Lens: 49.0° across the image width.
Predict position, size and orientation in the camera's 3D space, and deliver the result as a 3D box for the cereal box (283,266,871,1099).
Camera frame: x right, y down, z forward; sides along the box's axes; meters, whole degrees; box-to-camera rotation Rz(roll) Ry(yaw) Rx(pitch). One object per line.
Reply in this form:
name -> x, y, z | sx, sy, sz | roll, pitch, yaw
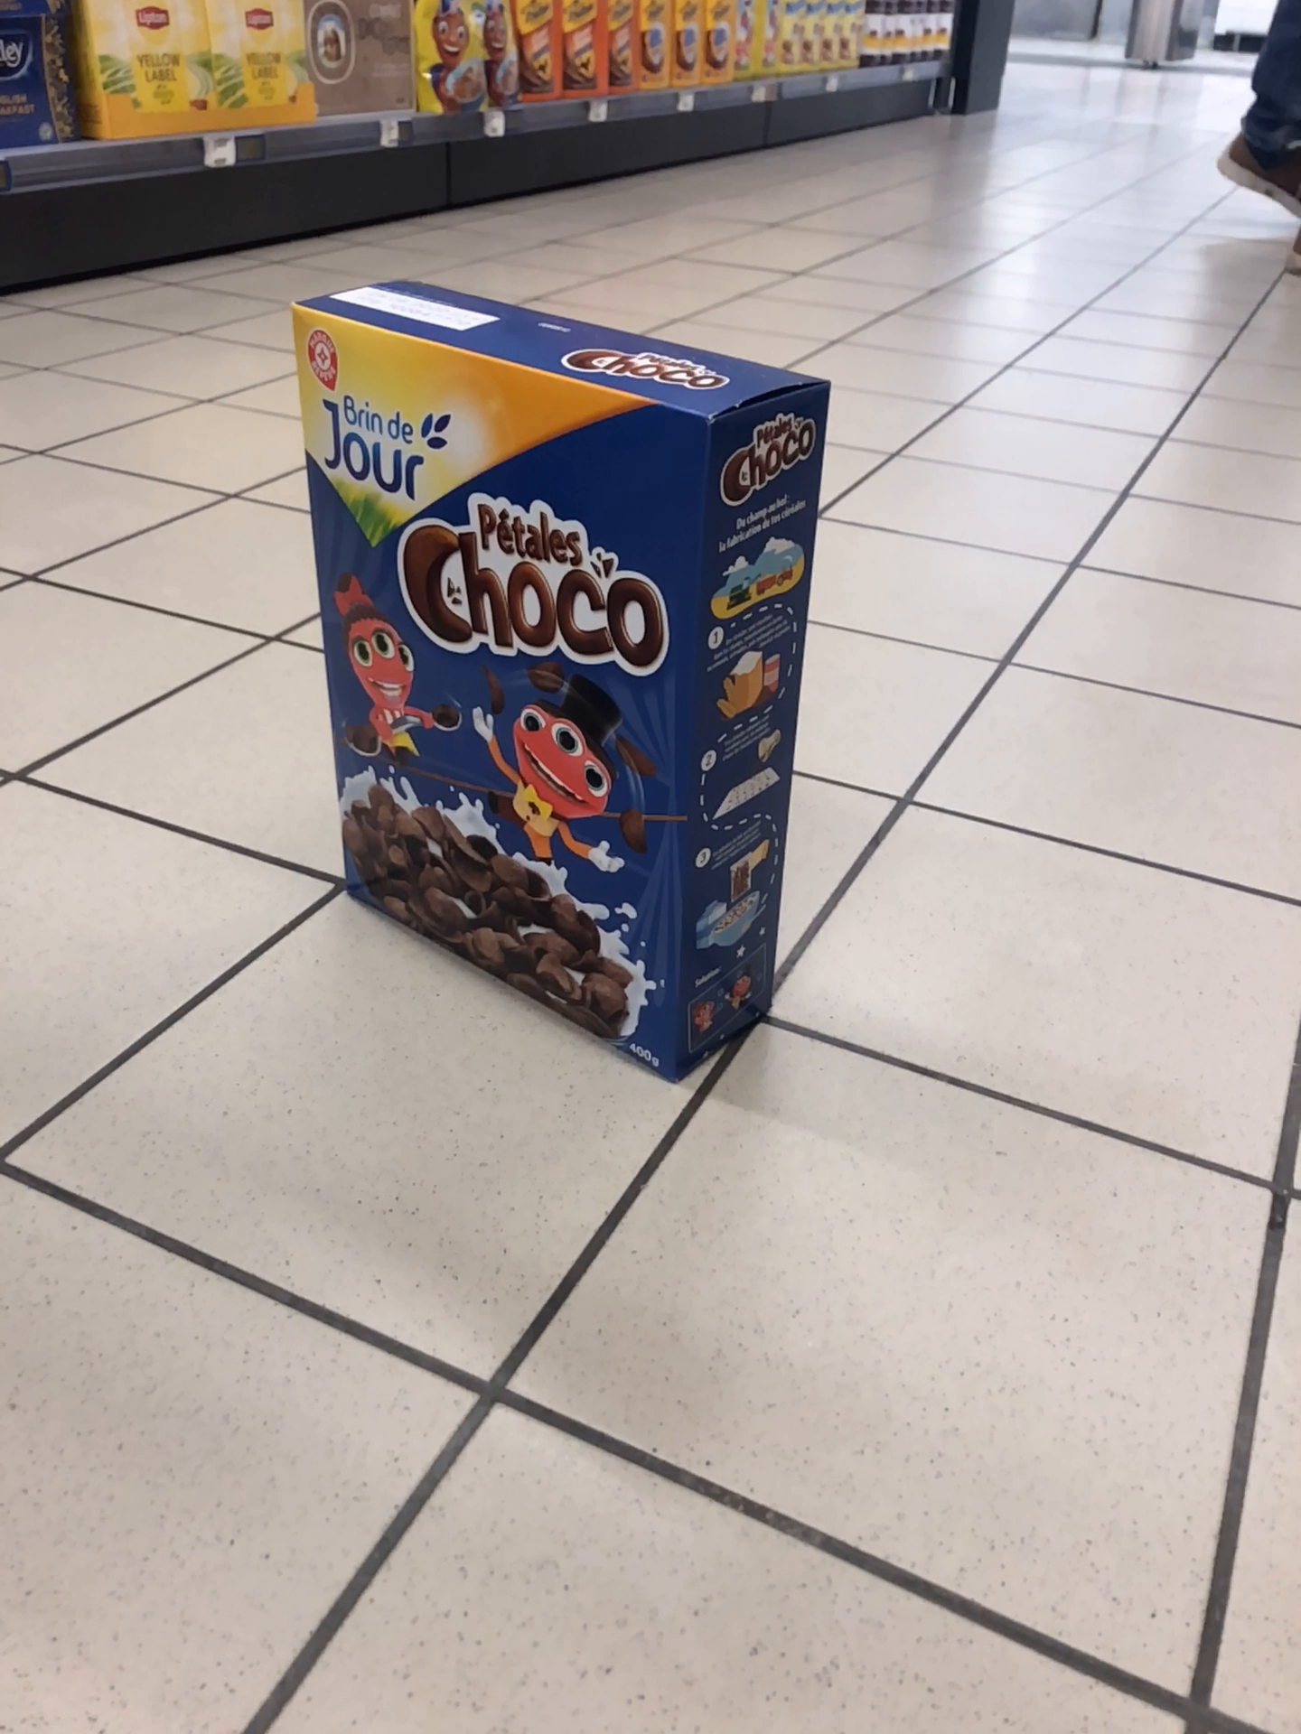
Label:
cereal box -> -0.035, -0.073, 0.531 | 0.200, 0.248, 0.070 | 27, 39, 34
